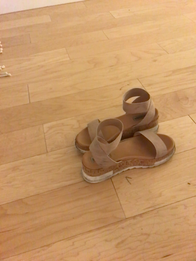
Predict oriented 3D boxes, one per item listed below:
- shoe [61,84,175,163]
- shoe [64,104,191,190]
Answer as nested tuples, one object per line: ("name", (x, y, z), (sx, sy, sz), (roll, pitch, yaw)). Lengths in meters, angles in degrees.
("shoe", (0.052, -0.023, 0.609), (0.280, 0.119, 0.111), (-15, 48, -8))
("shoe", (0.070, 0.039, 0.549), (0.280, 0.109, 0.111), (-14, 48, -8))
